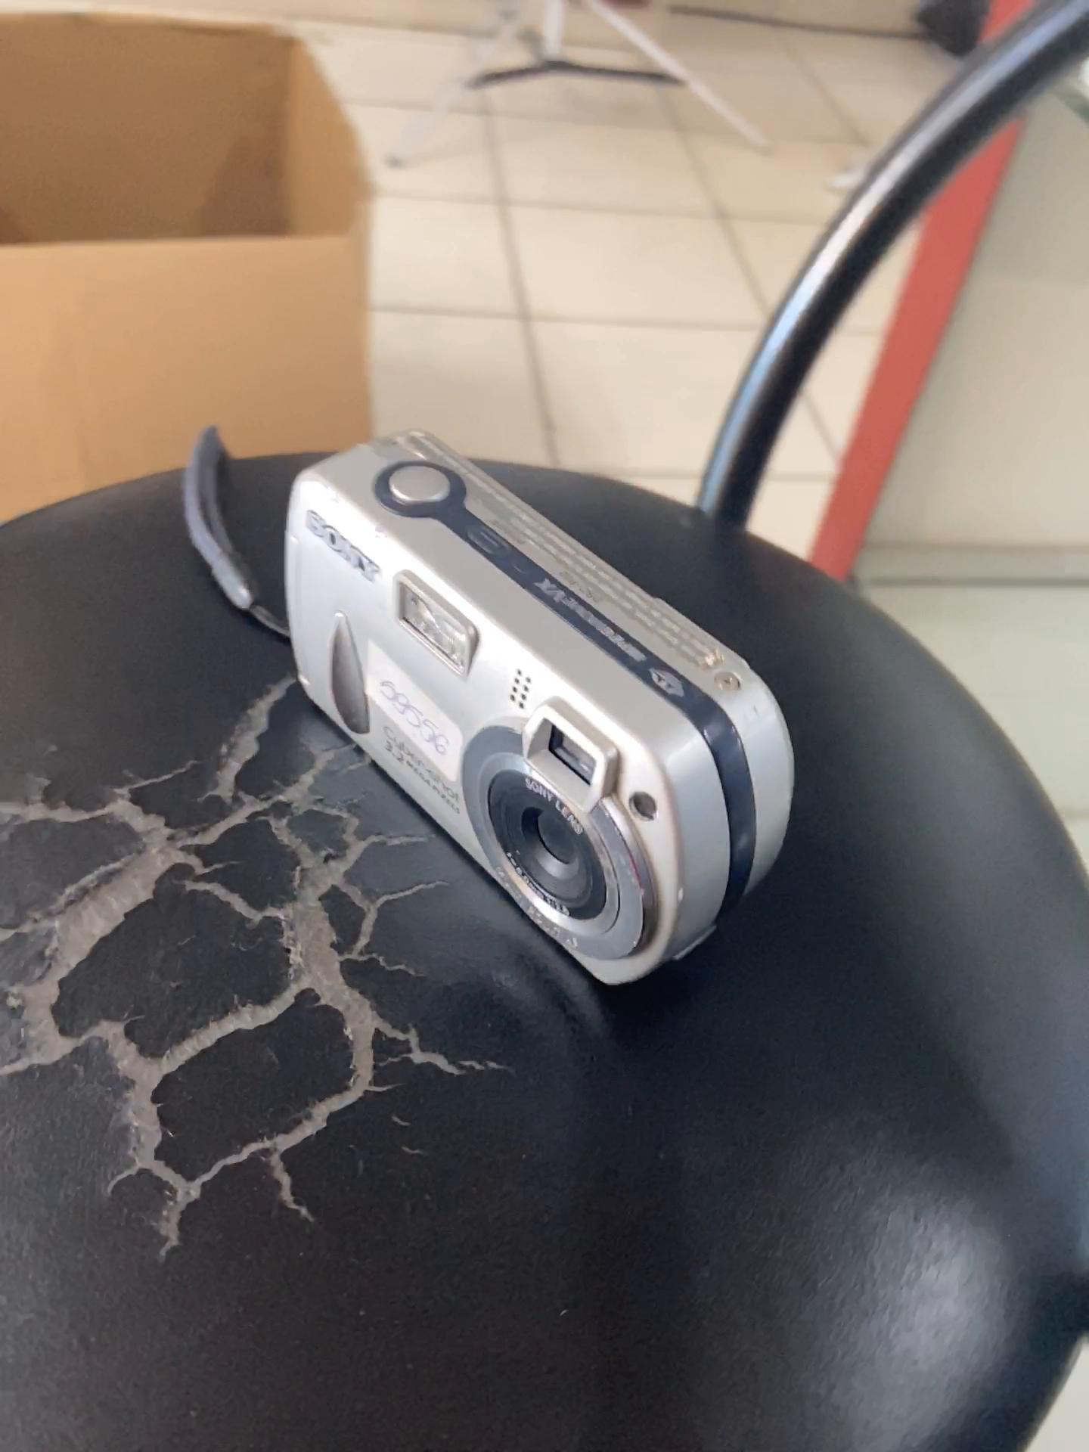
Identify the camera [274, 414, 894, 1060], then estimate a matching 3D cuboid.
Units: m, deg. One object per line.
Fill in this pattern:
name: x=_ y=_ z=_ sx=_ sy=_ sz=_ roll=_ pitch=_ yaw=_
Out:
camera: x=0.000 y=-0.002 z=0.196 sx=0.040 sy=0.050 sz=0.100 roll=-30 pitch=58 yaw=-31
